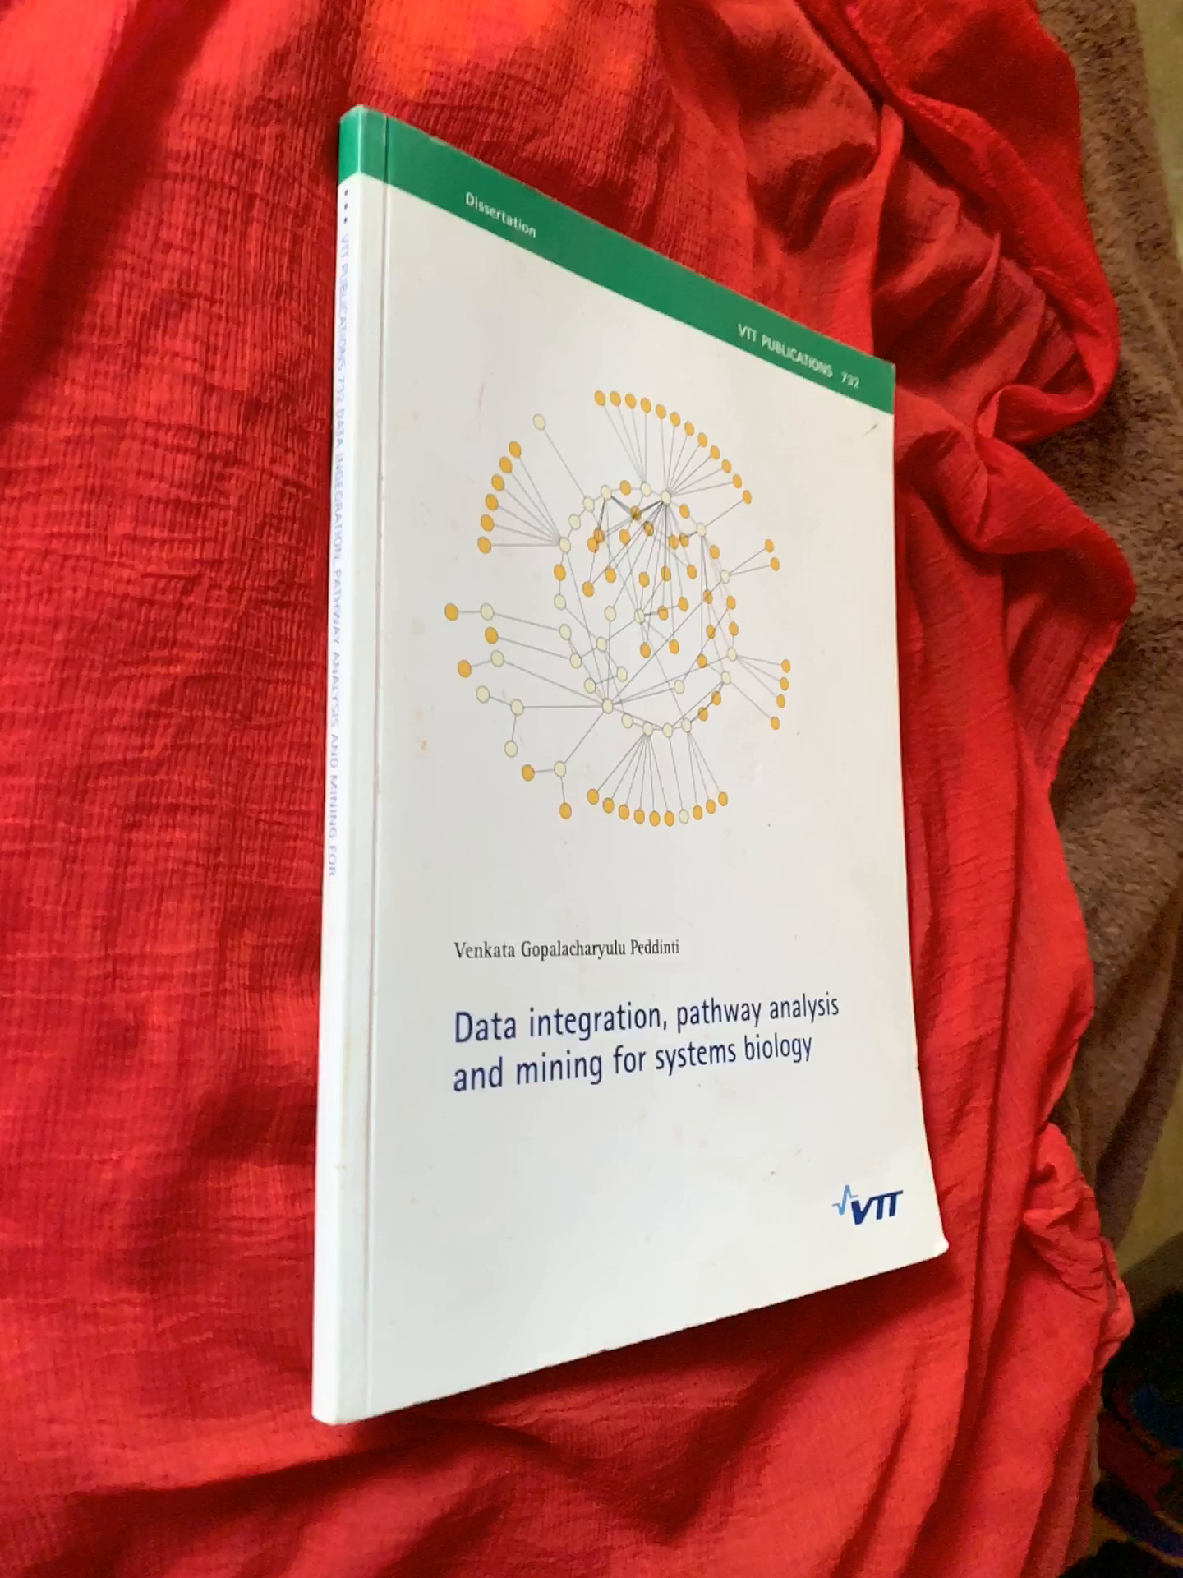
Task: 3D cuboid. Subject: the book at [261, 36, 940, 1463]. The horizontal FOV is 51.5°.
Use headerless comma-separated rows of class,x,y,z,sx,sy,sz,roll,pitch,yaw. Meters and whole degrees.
book,0.014,-0.010,0.293,0.181,0.020,0.270,6,80,-39
